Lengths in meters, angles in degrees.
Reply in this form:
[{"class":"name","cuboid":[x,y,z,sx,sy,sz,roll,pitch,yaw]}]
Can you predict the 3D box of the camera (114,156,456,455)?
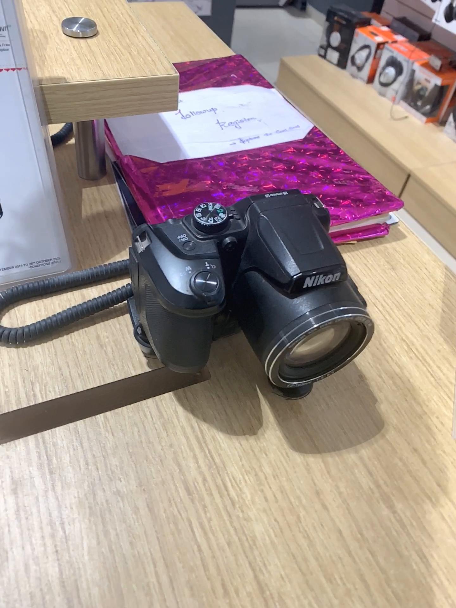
[{"class":"camera","cuboid":[0.020,-0.004,0.240,0.130,0.090,0.090,-13,51,-20]}]
